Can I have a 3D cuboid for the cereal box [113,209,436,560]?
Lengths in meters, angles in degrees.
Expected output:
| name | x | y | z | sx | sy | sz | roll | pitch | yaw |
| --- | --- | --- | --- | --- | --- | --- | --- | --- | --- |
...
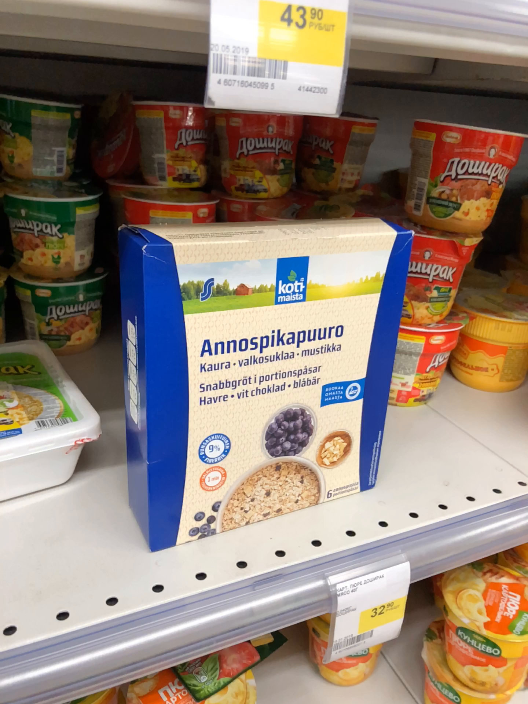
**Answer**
| name | x | y | z | sx | sy | sz | roll | pitch | yaw |
| --- | --- | --- | --- | --- | --- | --- | --- | --- | --- |
| cereal box | 0.005 | 0.013 | 0.348 | 0.170 | 0.179 | 0.050 | -9 | 26 | -26 |
